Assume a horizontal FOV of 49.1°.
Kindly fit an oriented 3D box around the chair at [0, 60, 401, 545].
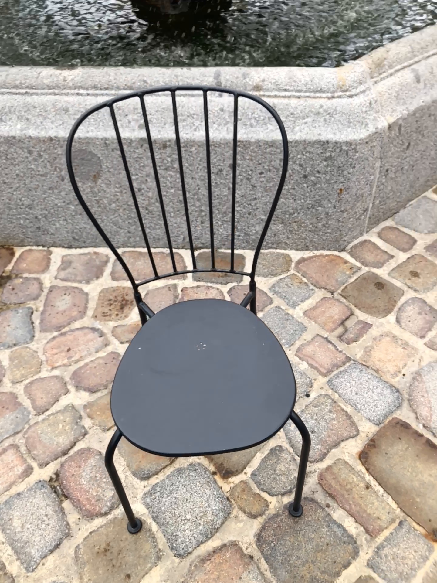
[{"bbox_3d":[-0.034,0.077,0.910,0.420,0.796,0.472,-5,45,-2],"label":"chair"}]
